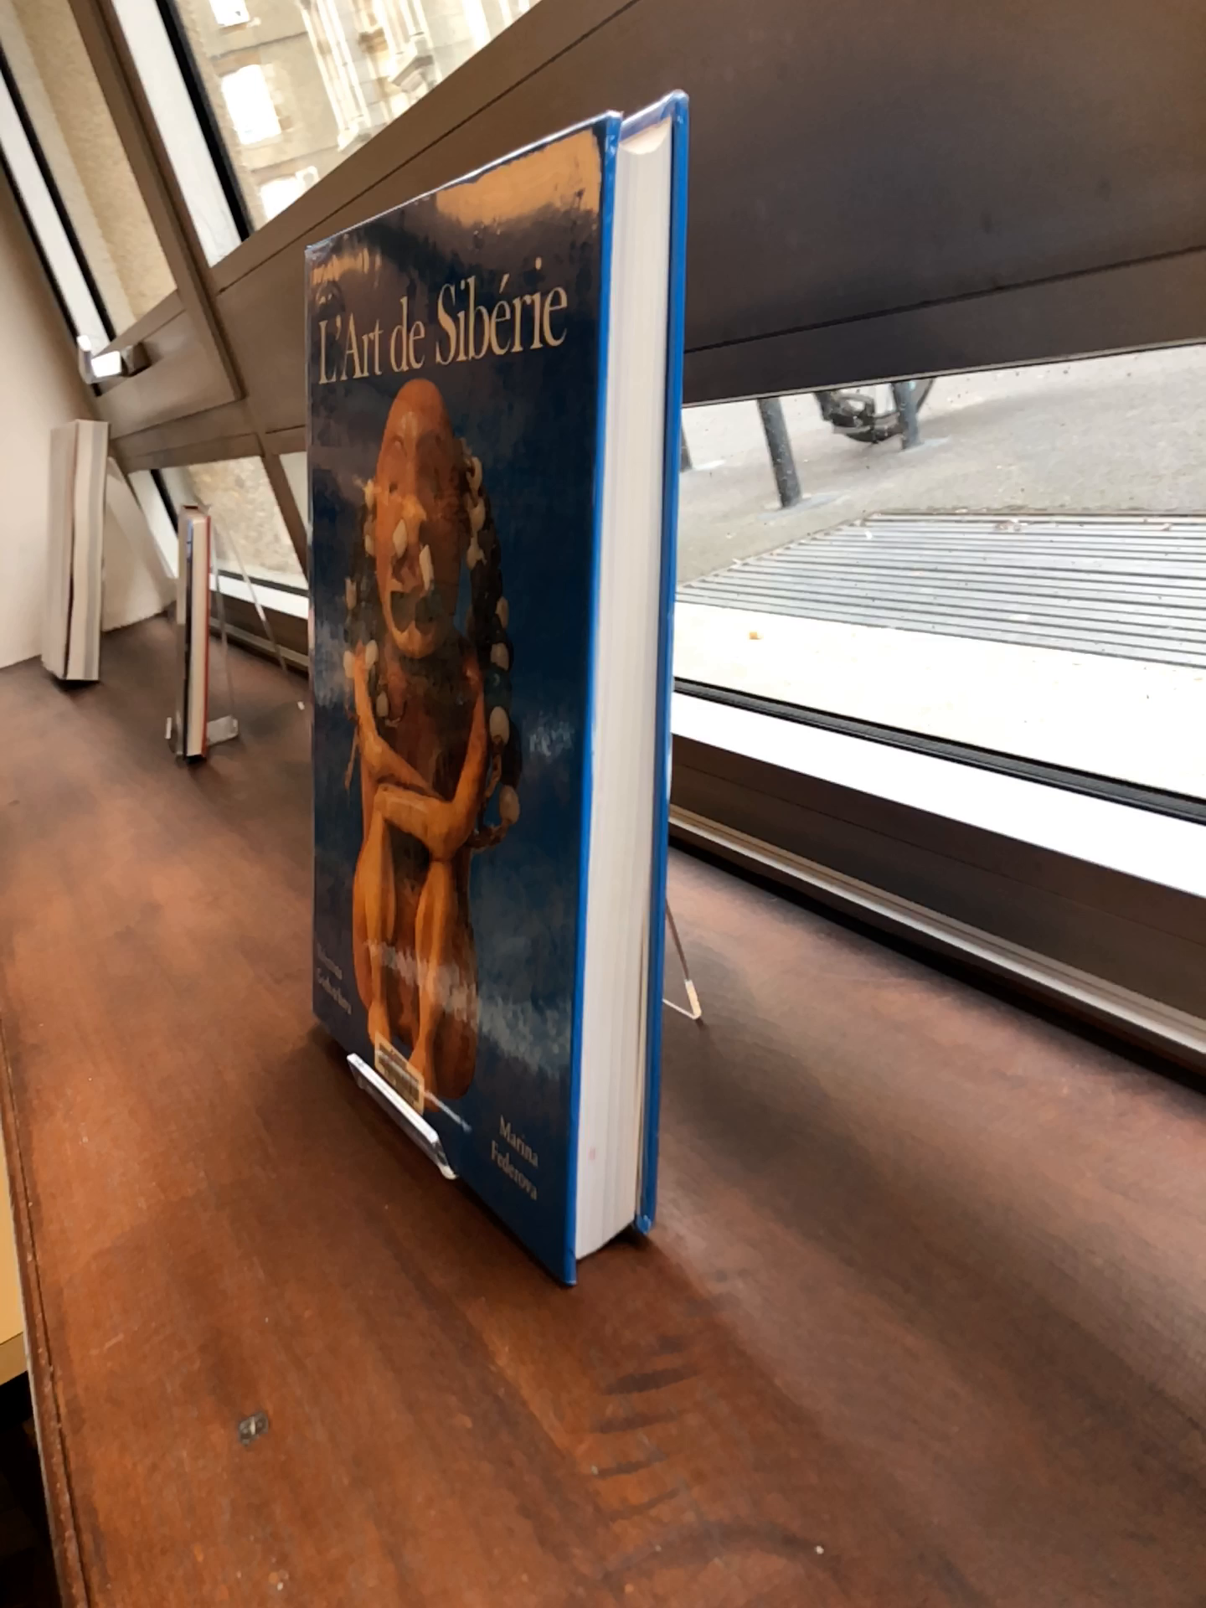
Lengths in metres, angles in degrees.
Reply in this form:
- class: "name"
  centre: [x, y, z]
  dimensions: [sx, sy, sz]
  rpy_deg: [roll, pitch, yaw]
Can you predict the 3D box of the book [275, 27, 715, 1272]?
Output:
- class: "book"
  centre: [-0.053, -0.053, 0.489]
  dimensions: [0.044, 0.349, 0.254]
  rpy_deg: [-7, 14, -30]
